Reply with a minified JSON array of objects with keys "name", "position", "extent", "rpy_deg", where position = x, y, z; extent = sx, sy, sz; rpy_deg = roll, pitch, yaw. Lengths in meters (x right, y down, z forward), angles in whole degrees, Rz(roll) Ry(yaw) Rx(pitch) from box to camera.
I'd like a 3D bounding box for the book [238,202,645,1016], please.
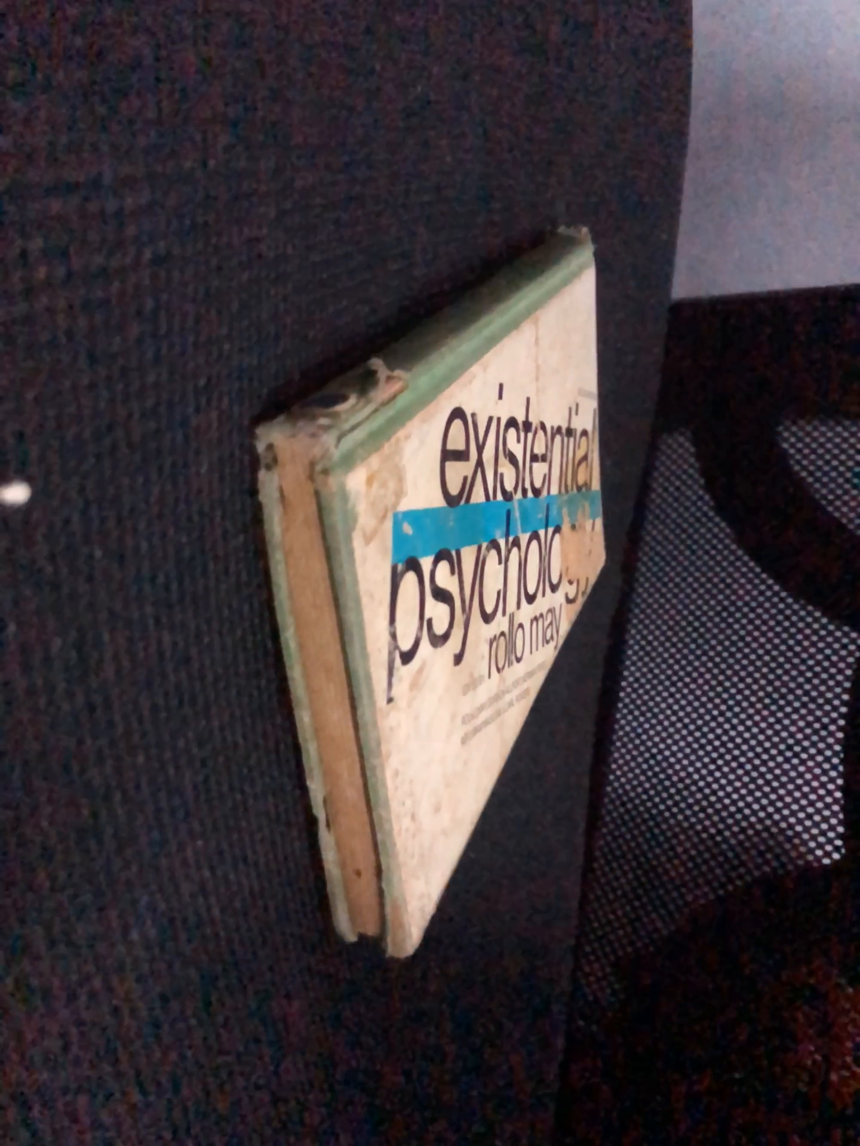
[{"name":"book","position":[0.024,-0.014,0.246],"extent":[0.201,0.020,0.125],"rpy_deg":[-51,142,-53]}]
